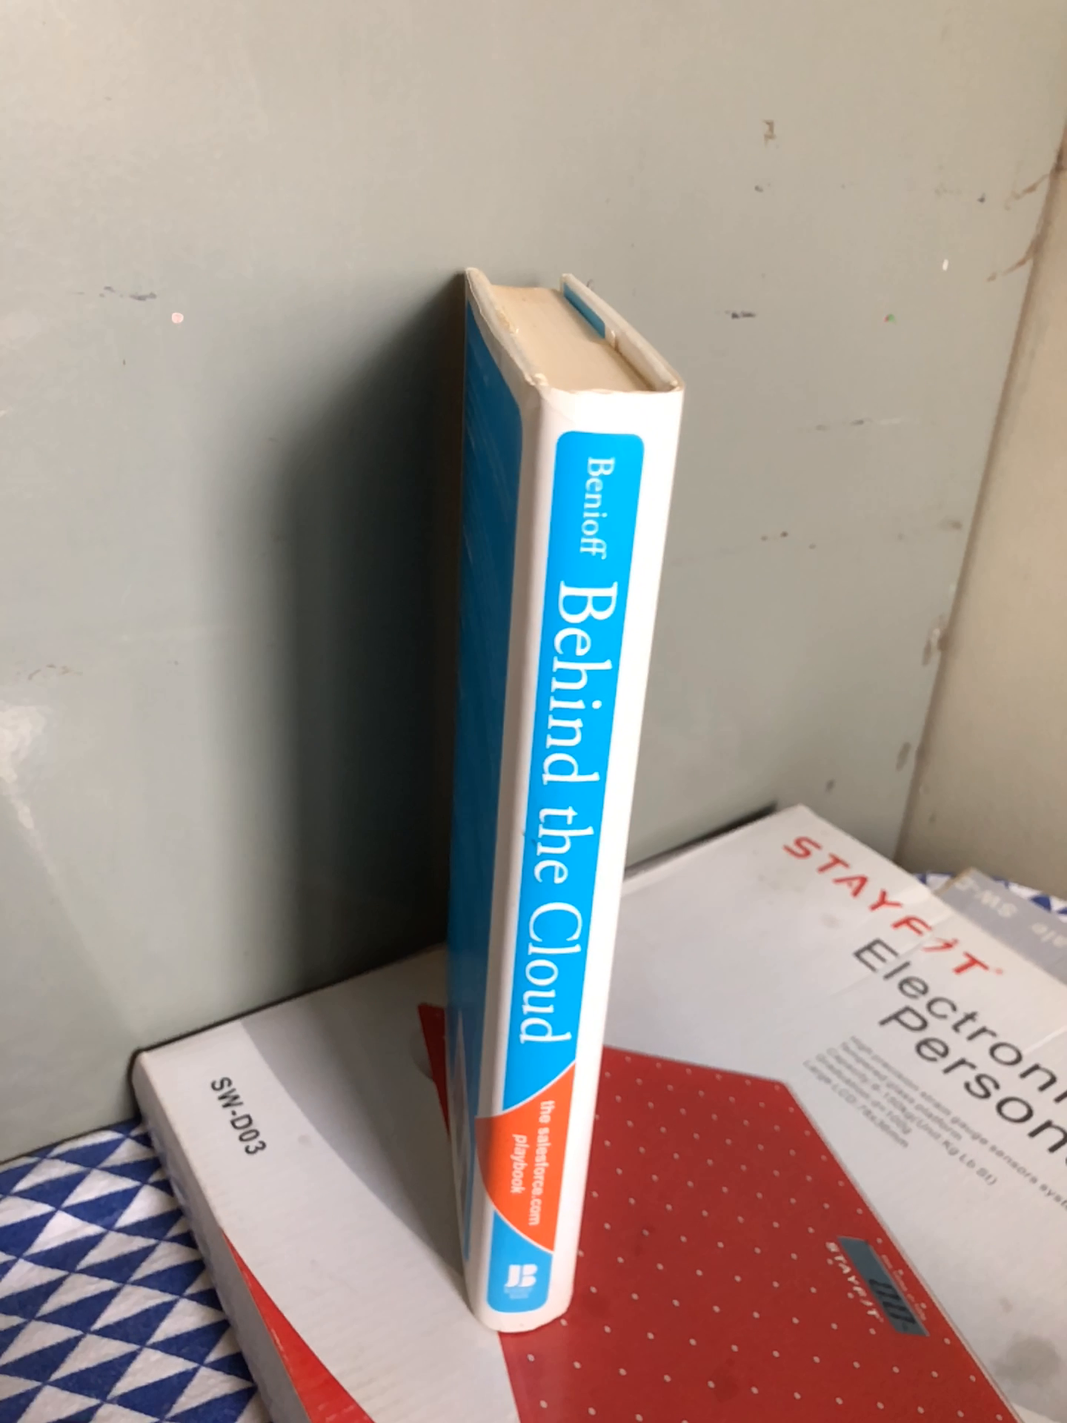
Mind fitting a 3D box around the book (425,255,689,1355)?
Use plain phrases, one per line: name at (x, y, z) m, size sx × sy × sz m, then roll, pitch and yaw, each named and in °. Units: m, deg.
book at (-0.007, 0.008, 0.332) m, size 0.040 × 0.239 × 0.191 m, roll -1°, pitch 24°, yaw -6°
